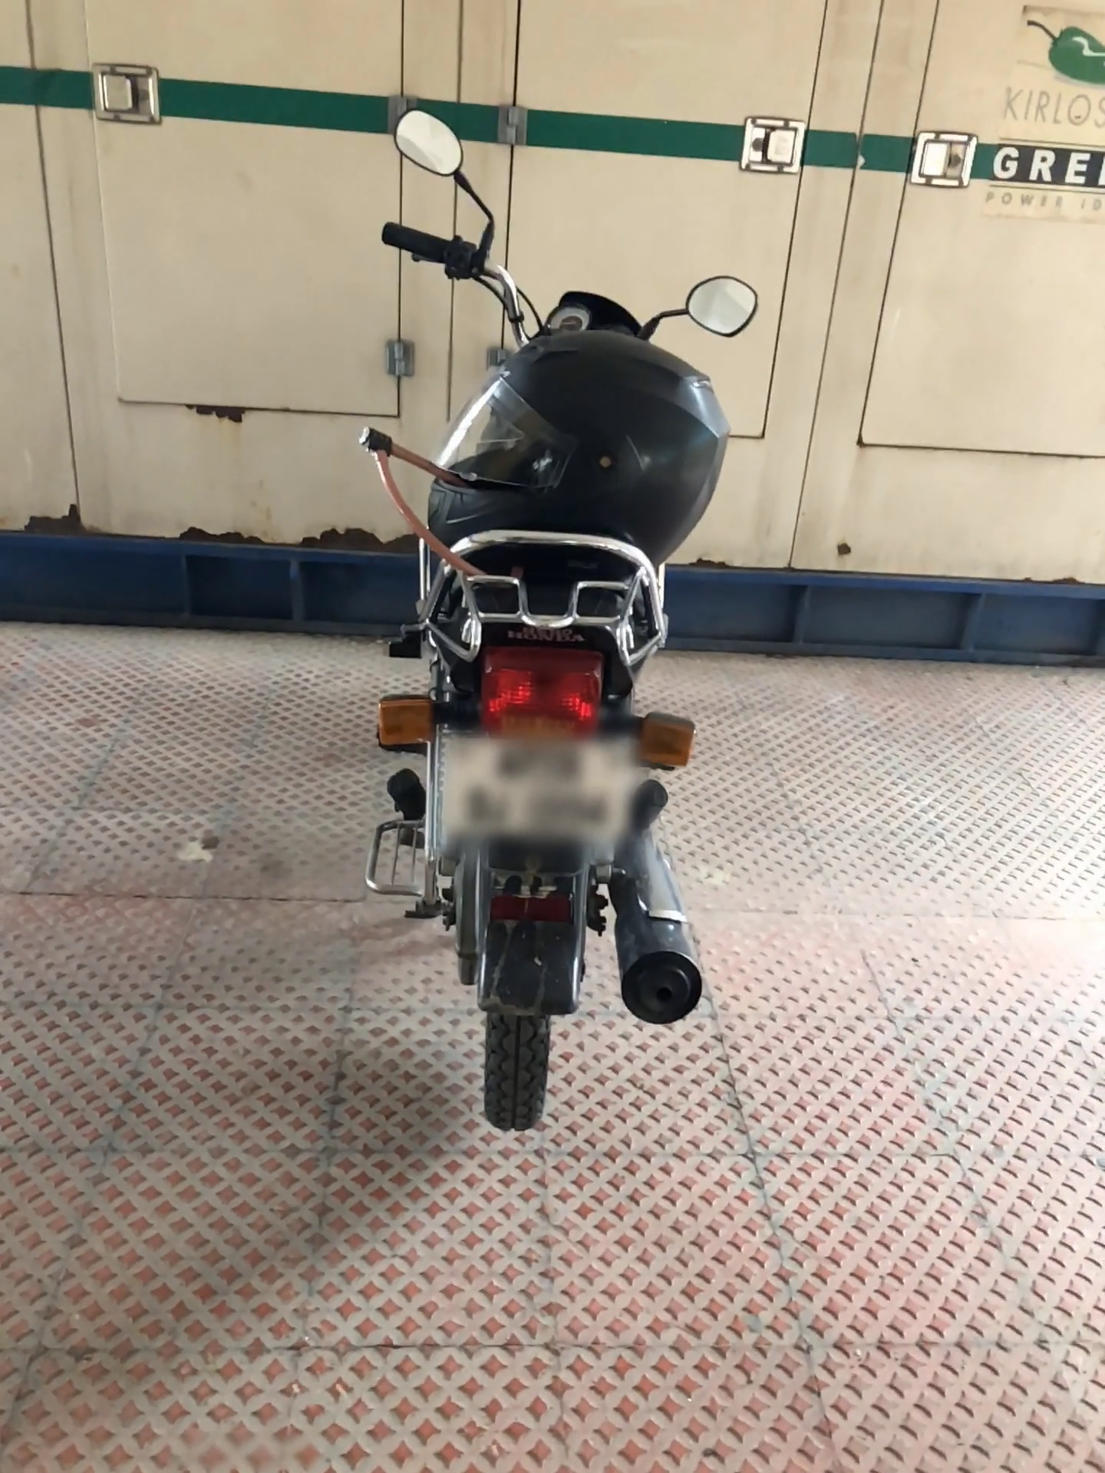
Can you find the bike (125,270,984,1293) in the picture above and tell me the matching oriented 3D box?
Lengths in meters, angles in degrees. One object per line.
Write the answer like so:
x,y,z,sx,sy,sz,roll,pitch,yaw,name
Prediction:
0.043,-0.182,2.133,0.735,1.087,1.869,6,24,3,bike
